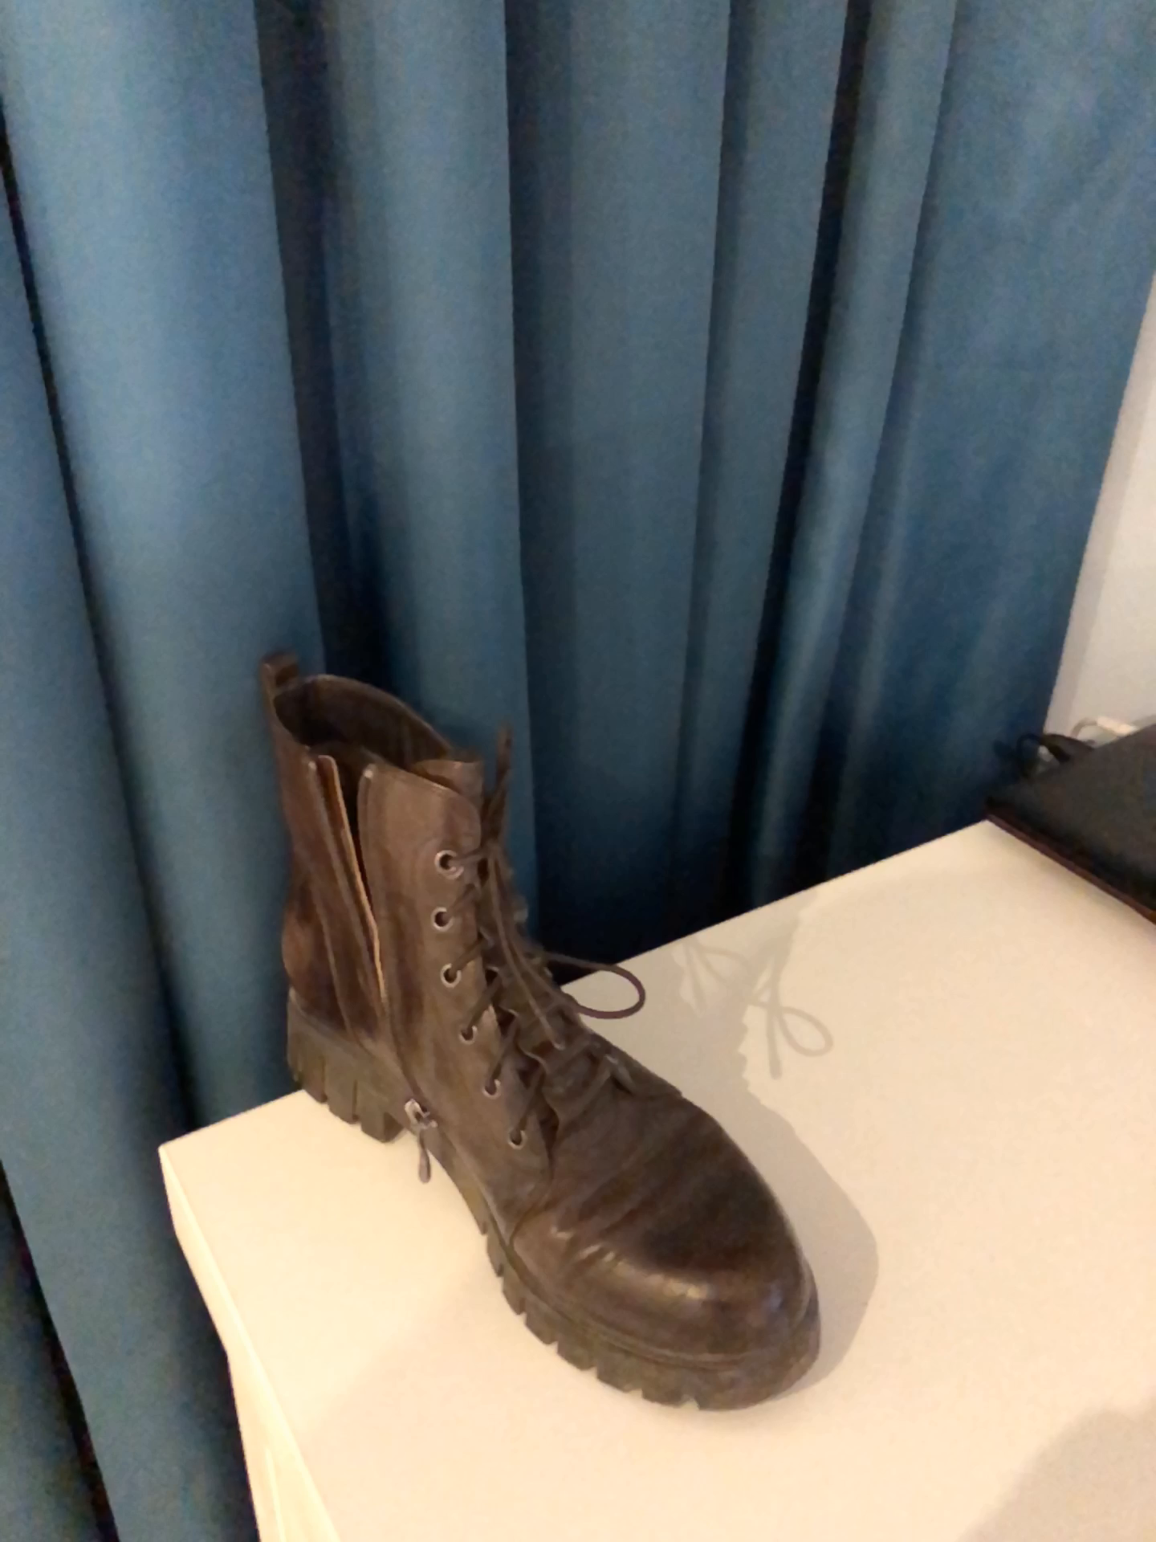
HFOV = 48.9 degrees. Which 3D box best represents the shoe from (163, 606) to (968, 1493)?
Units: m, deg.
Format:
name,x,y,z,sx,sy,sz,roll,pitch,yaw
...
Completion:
name,x,y,z,sx,sy,sz,roll,pitch,yaw
shoe,-0.021,0.071,0.446,0.100,0.169,0.271,-24,37,-37
